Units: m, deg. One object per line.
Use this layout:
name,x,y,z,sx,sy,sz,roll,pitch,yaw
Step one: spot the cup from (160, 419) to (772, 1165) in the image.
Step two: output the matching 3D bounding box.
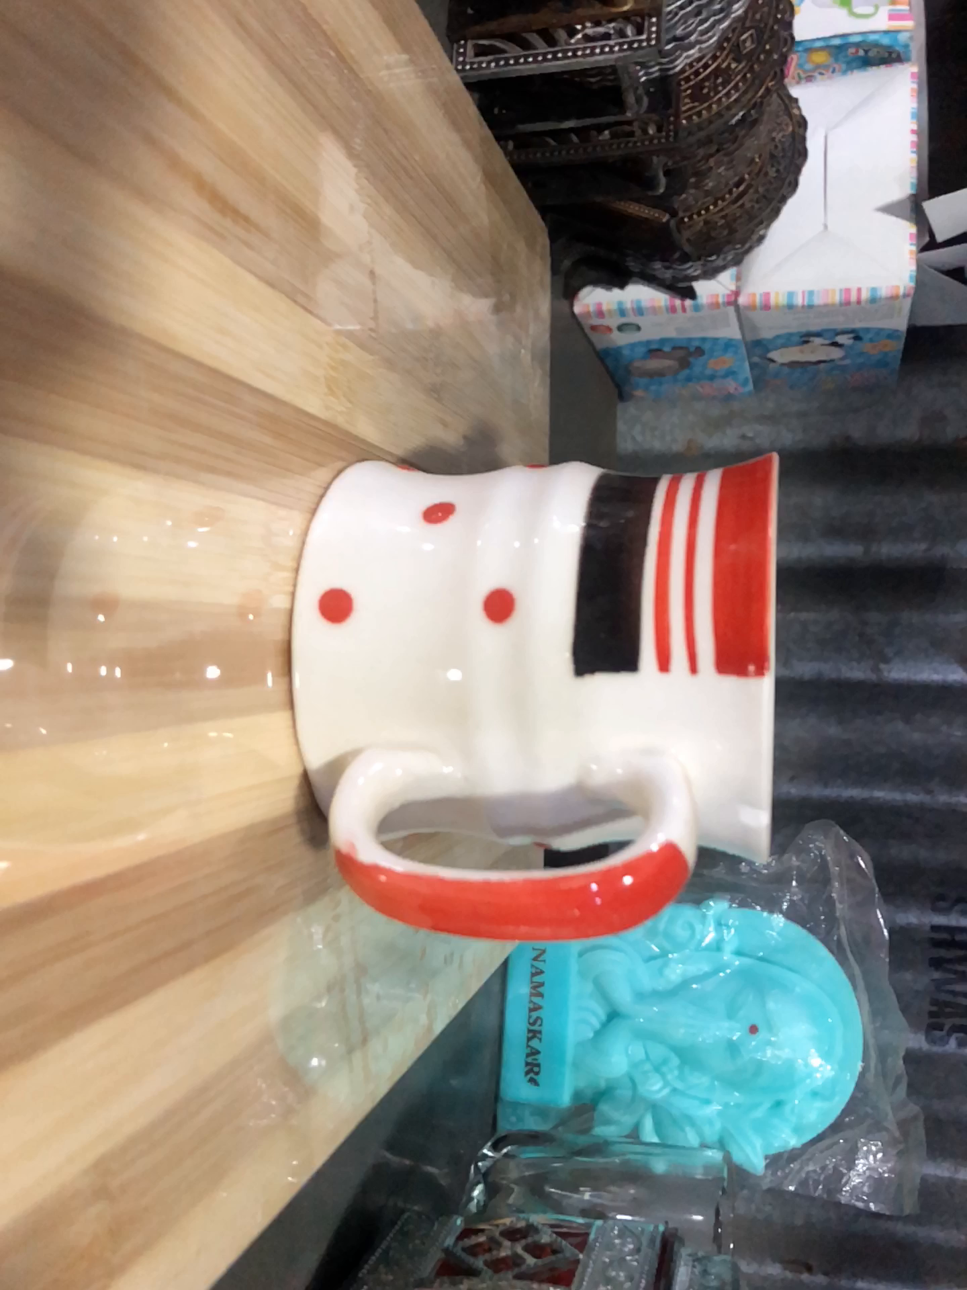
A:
cup,0.013,0.027,0.226,0.110,0.090,0.100,1,90,-76
